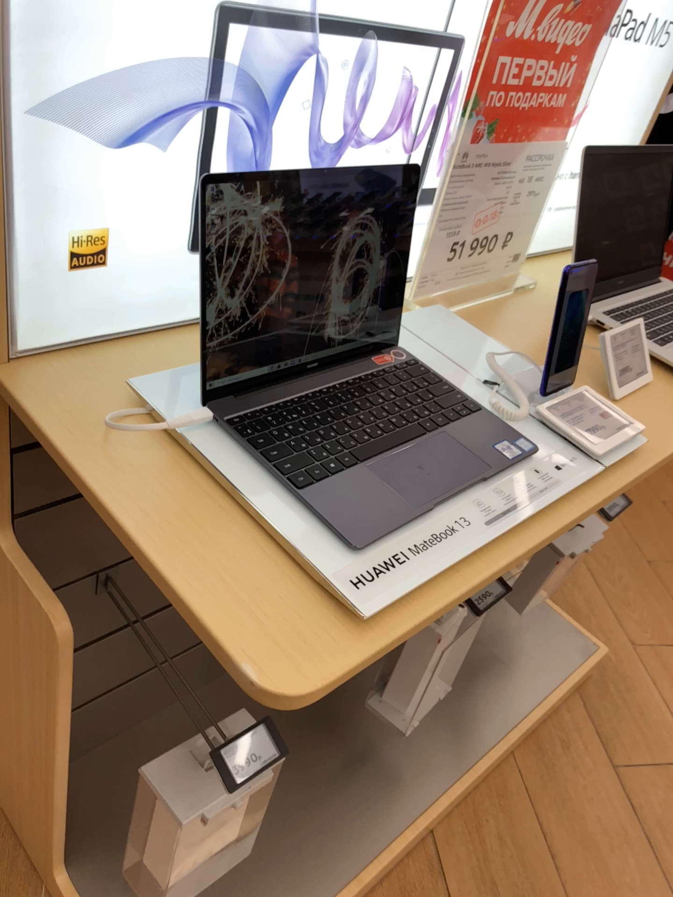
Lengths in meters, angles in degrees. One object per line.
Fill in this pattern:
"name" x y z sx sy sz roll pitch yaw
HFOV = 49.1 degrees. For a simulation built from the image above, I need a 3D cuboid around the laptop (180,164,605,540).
"laptop" 0.046 -0.114 0.684 0.275 0.192 0.244 -21 51 -41
